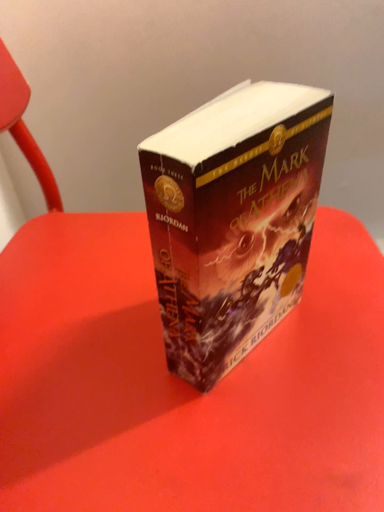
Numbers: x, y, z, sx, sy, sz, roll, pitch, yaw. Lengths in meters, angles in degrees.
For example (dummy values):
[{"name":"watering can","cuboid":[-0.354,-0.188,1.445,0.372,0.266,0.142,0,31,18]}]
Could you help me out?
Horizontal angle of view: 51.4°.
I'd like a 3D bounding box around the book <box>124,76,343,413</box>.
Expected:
[{"name":"book","cuboid":[0.035,-0.007,0.291,0.061,0.193,0.140,24,46,29]}]
